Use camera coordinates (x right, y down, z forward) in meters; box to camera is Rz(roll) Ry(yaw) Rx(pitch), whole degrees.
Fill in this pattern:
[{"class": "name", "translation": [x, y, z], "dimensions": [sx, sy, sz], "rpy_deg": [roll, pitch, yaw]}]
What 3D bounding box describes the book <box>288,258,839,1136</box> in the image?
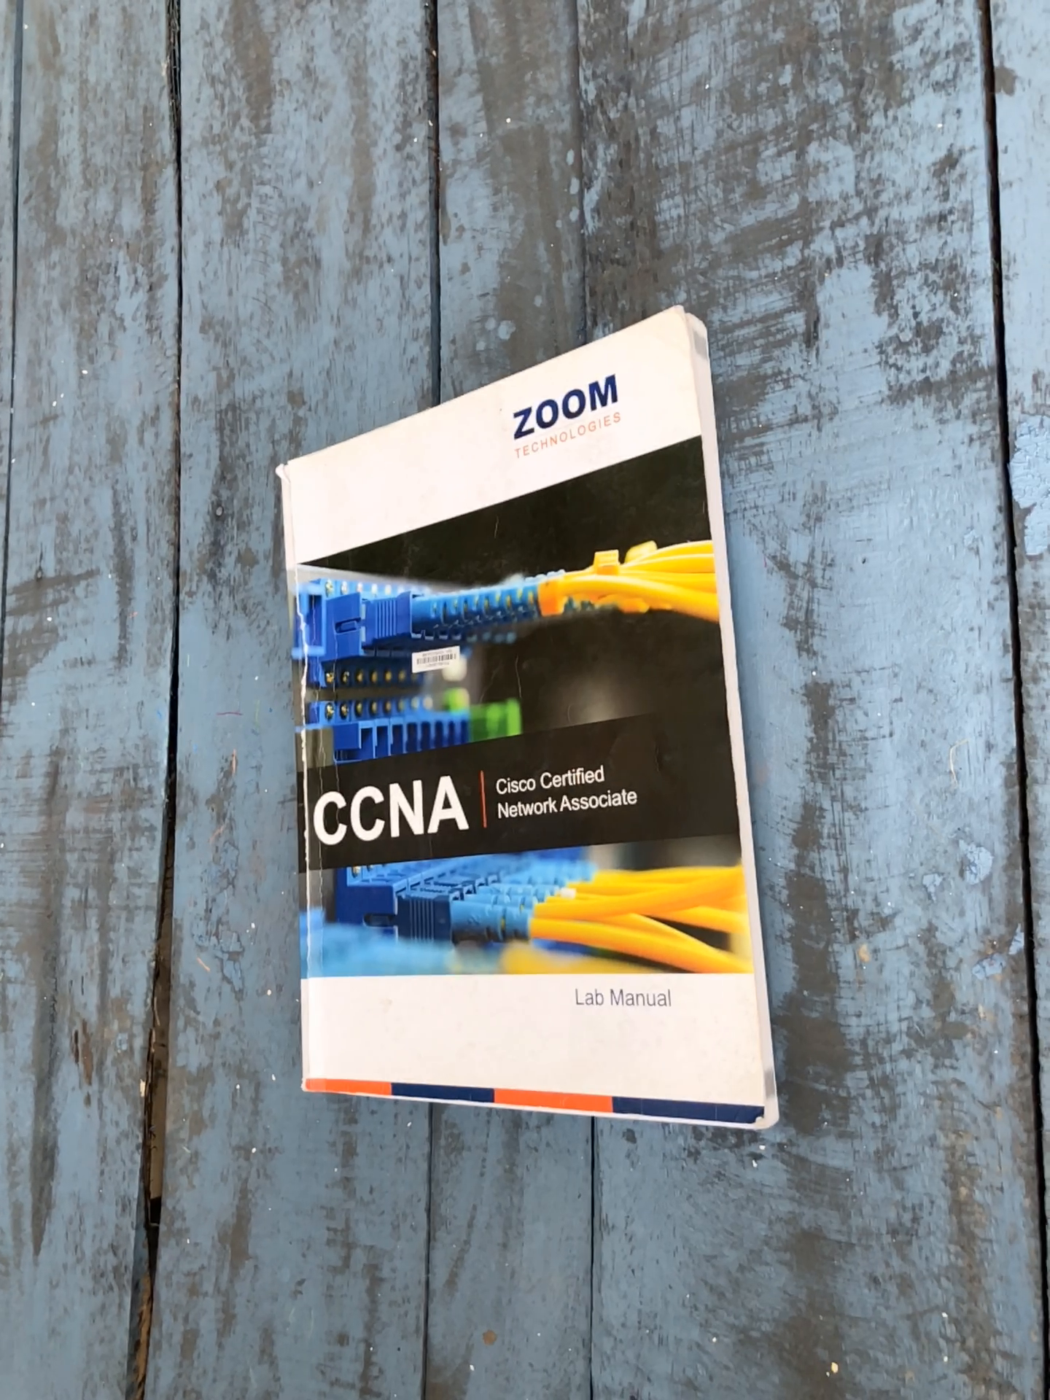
[{"class": "book", "translation": [-0.004, 0.007, 0.409], "dimensions": [0.201, 0.030, 0.260], "rpy_deg": [-10, 77, 36]}]
